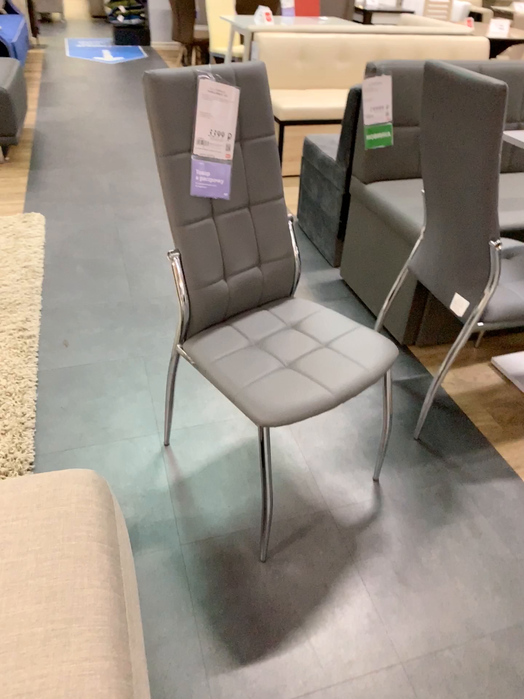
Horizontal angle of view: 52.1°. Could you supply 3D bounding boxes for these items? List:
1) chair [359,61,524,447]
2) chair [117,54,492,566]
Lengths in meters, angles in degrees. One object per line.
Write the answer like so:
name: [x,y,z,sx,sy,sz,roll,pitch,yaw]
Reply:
chair: [0.714,-0.266,1.640,0.550,1.024,0.452,-6,37,-13]
chair: [0.044,-0.090,1.308,0.472,1.024,0.531,-23,44,-31]
